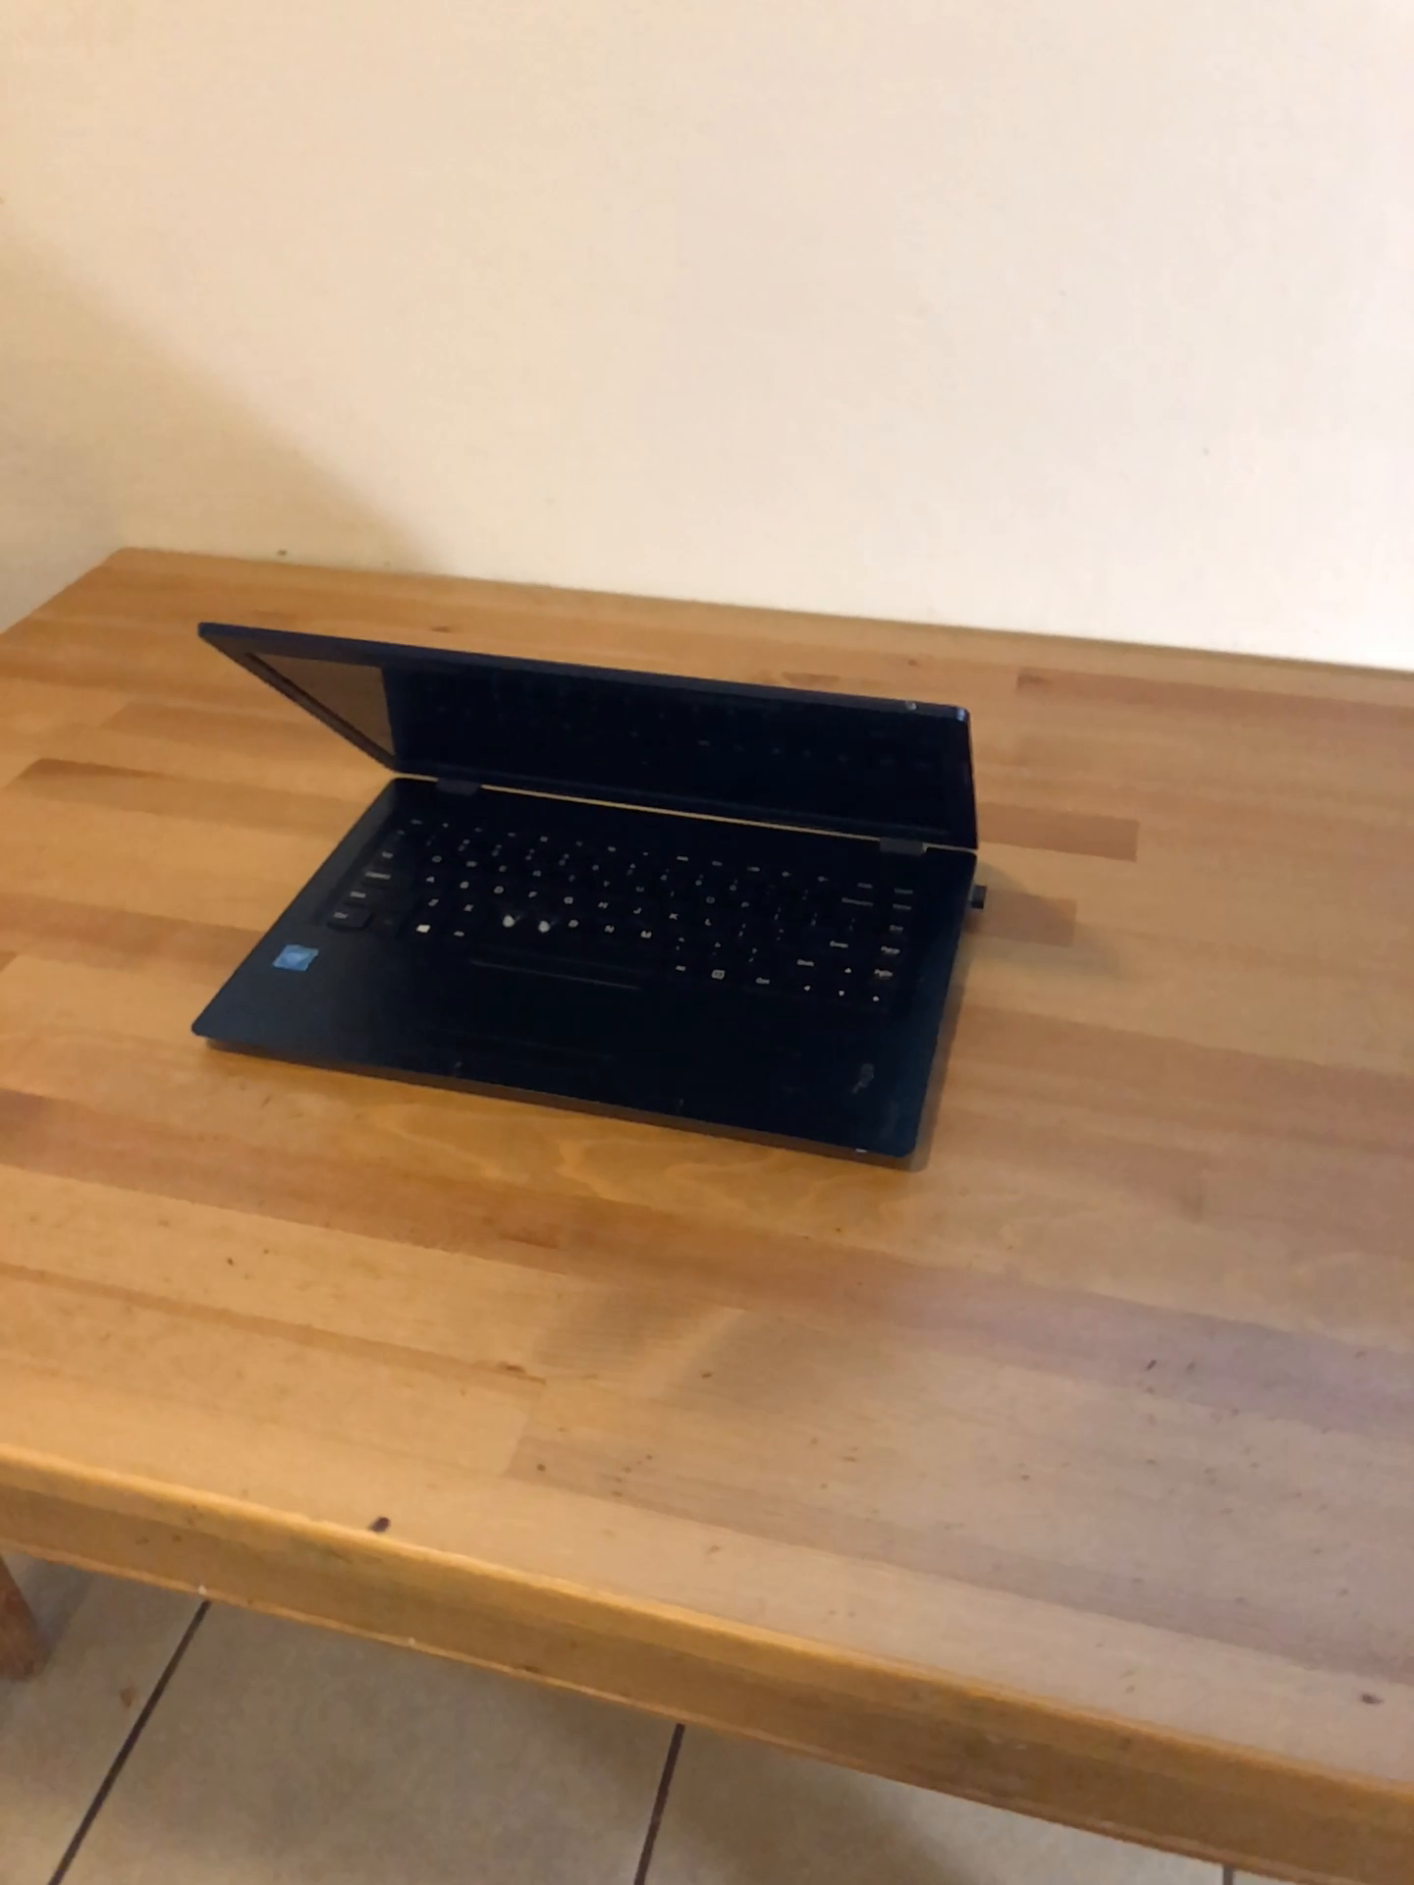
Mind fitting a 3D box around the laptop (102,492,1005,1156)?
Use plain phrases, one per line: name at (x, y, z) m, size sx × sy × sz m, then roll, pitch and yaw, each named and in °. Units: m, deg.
laptop at (-0.048, -0.067, 0.691) m, size 0.317 × 0.161 × 0.217 m, roll 9°, pitch 39°, yaw 12°
